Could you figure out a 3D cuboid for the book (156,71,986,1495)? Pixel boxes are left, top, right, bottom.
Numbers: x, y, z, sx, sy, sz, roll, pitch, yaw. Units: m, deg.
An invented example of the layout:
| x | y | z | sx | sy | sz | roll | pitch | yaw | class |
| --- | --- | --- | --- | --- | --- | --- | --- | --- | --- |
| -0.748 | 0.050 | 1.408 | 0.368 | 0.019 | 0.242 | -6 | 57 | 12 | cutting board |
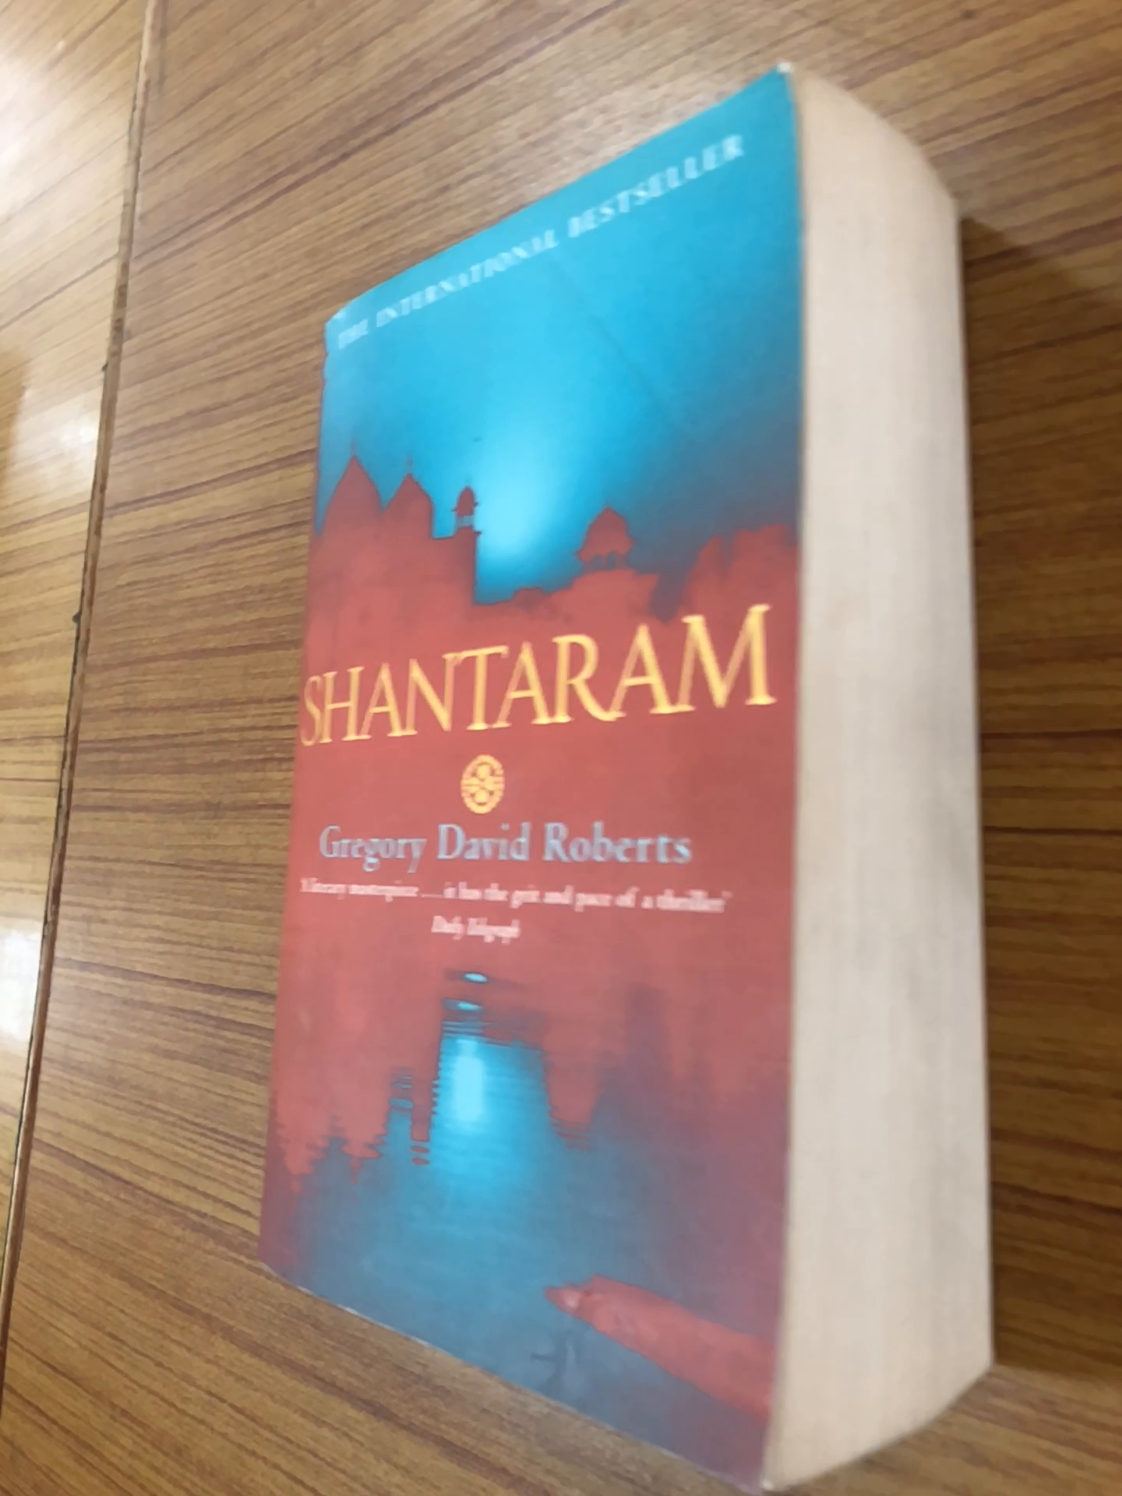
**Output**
| x | y | z | sx | sy | sz | roll | pitch | yaw | class |
| --- | --- | --- | --- | --- | --- | --- | --- | --- | --- |
| -0.007 | 0.008 | 0.231 | 0.151 | 0.050 | 0.190 | -6 | 79 | 43 | book |
